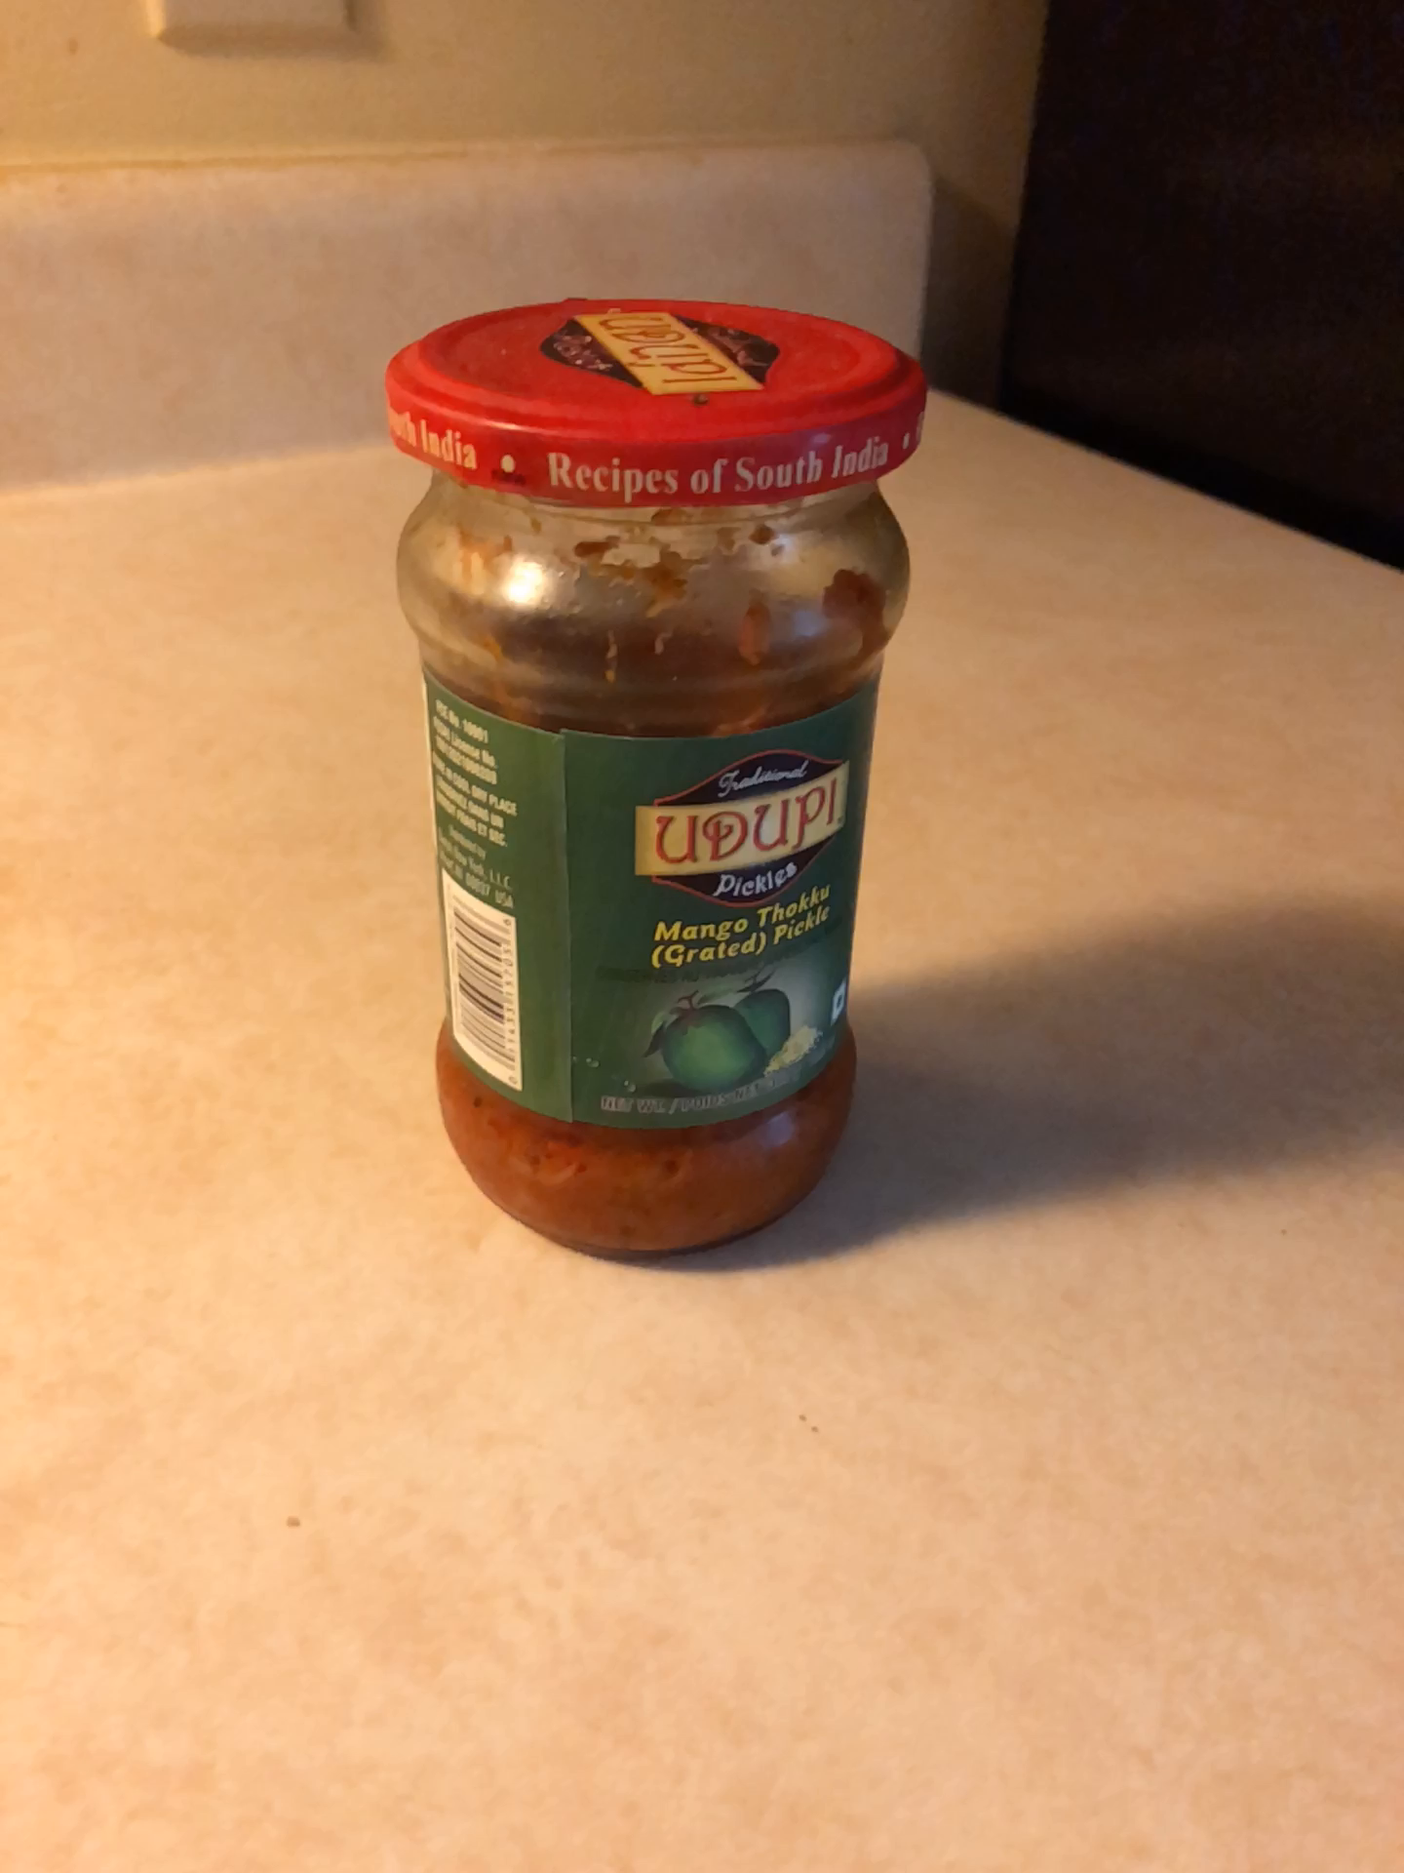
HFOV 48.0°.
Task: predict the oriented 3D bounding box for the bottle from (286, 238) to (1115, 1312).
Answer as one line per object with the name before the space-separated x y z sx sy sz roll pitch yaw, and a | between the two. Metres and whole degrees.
bottle | -0.007 -0.027 0.222 0.080 0.120 0.080 1 32 -1
